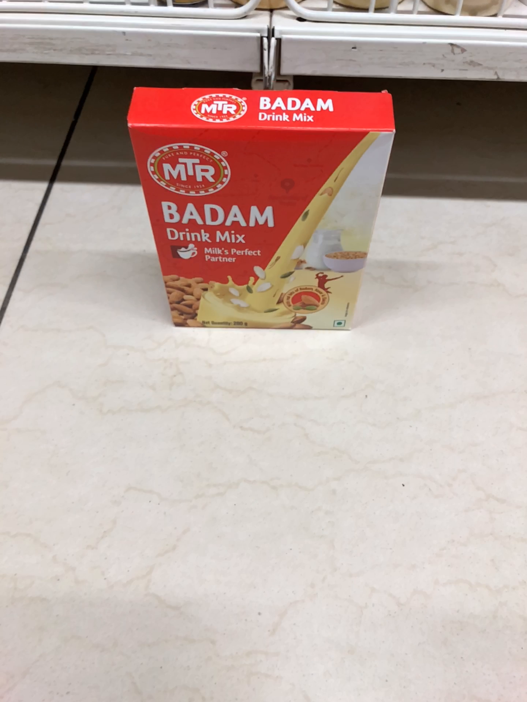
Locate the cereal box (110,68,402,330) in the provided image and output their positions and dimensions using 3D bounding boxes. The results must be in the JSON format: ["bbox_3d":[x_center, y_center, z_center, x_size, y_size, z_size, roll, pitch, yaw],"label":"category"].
[{"bbox_3d":[-0.004,-0.076,0.339,0.130,0.159,0.040,1,56,0],"label":"cereal box"}]
